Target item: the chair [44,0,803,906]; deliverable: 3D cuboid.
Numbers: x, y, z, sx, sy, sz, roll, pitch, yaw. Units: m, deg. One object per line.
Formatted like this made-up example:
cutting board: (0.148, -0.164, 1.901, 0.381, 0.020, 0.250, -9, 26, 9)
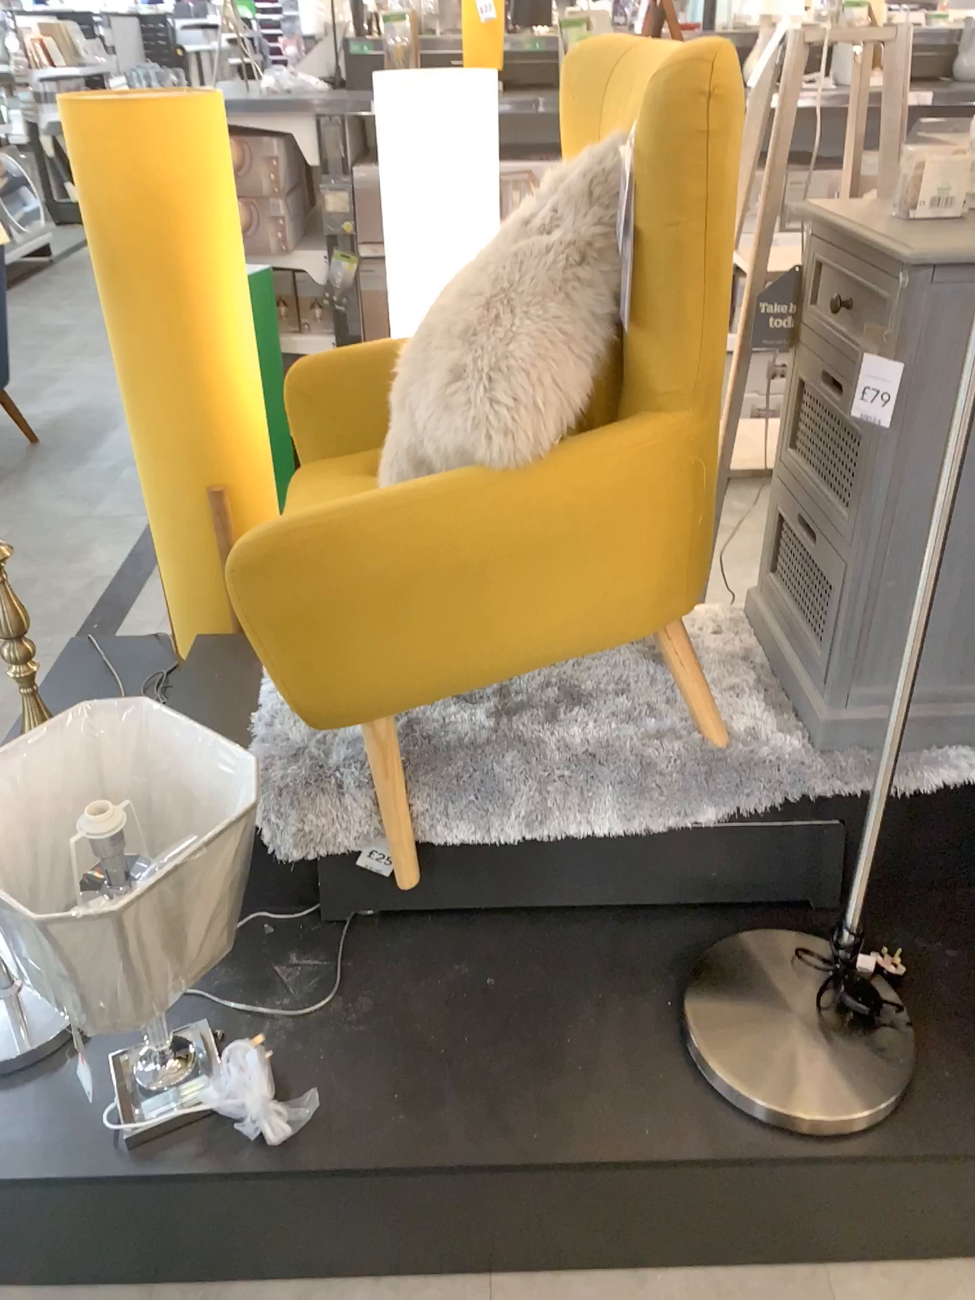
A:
chair: (0.003, -0.265, 1.442, 0.710, 1.020, 0.596, -10, 31, 3)
